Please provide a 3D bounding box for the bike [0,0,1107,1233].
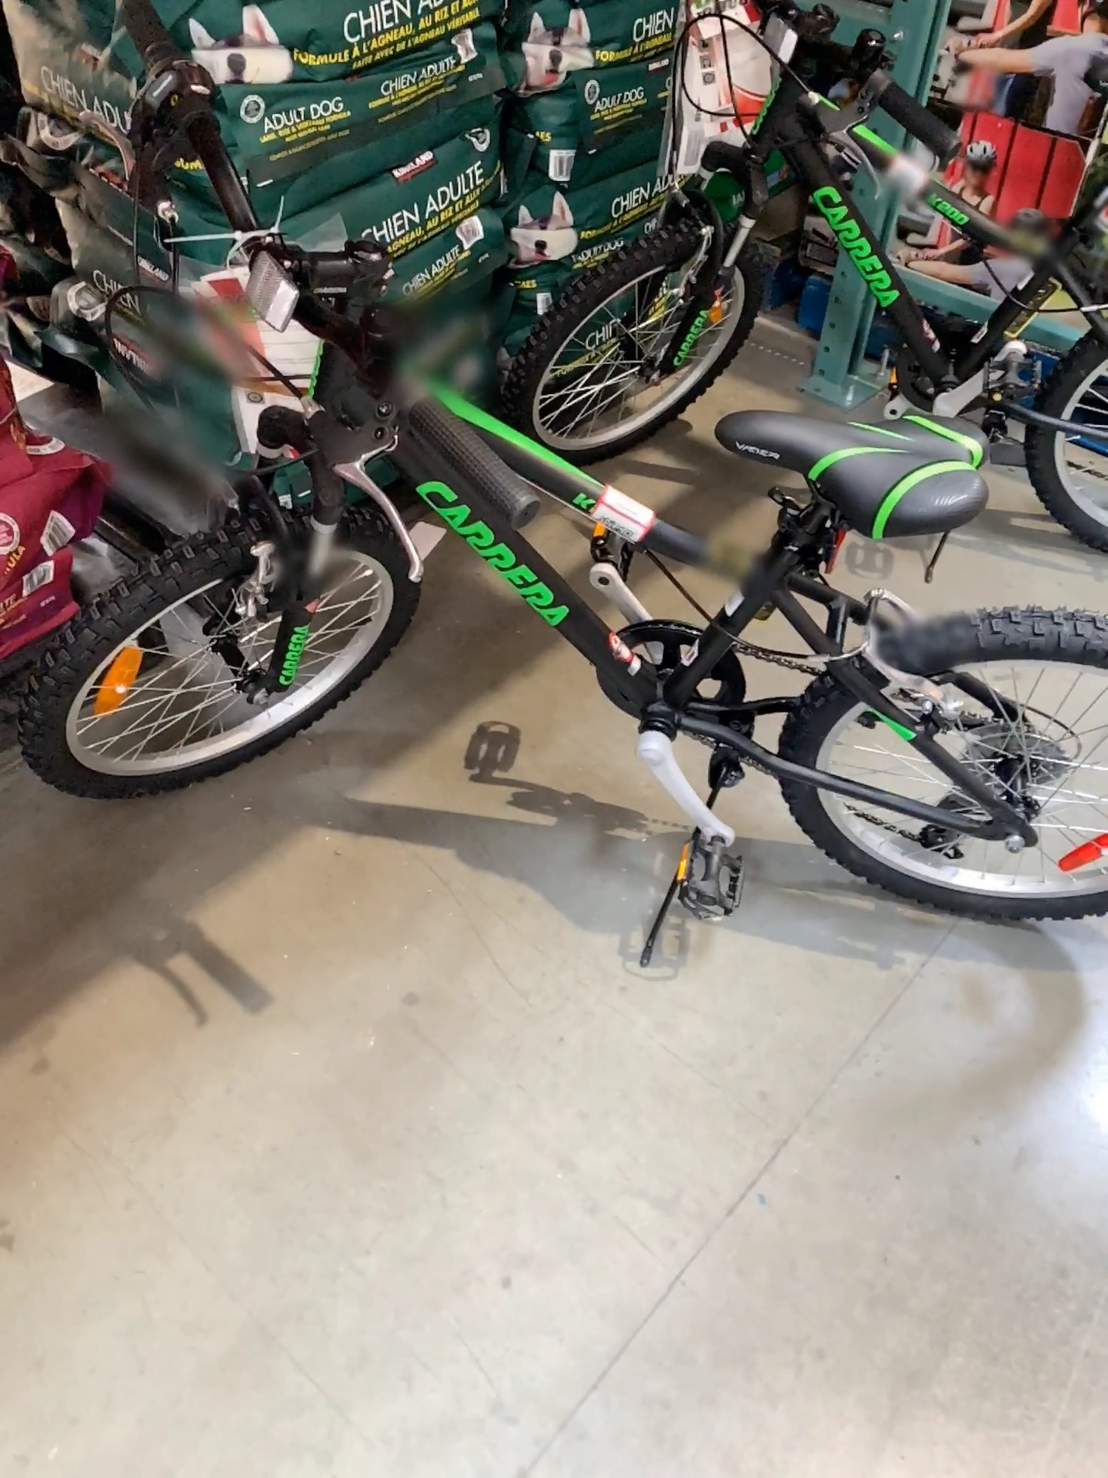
[{"bbox_3d":[0.115,-0.090,1.060,1.304,0.855,0.712,5,46,0],"label":"bike"}]
